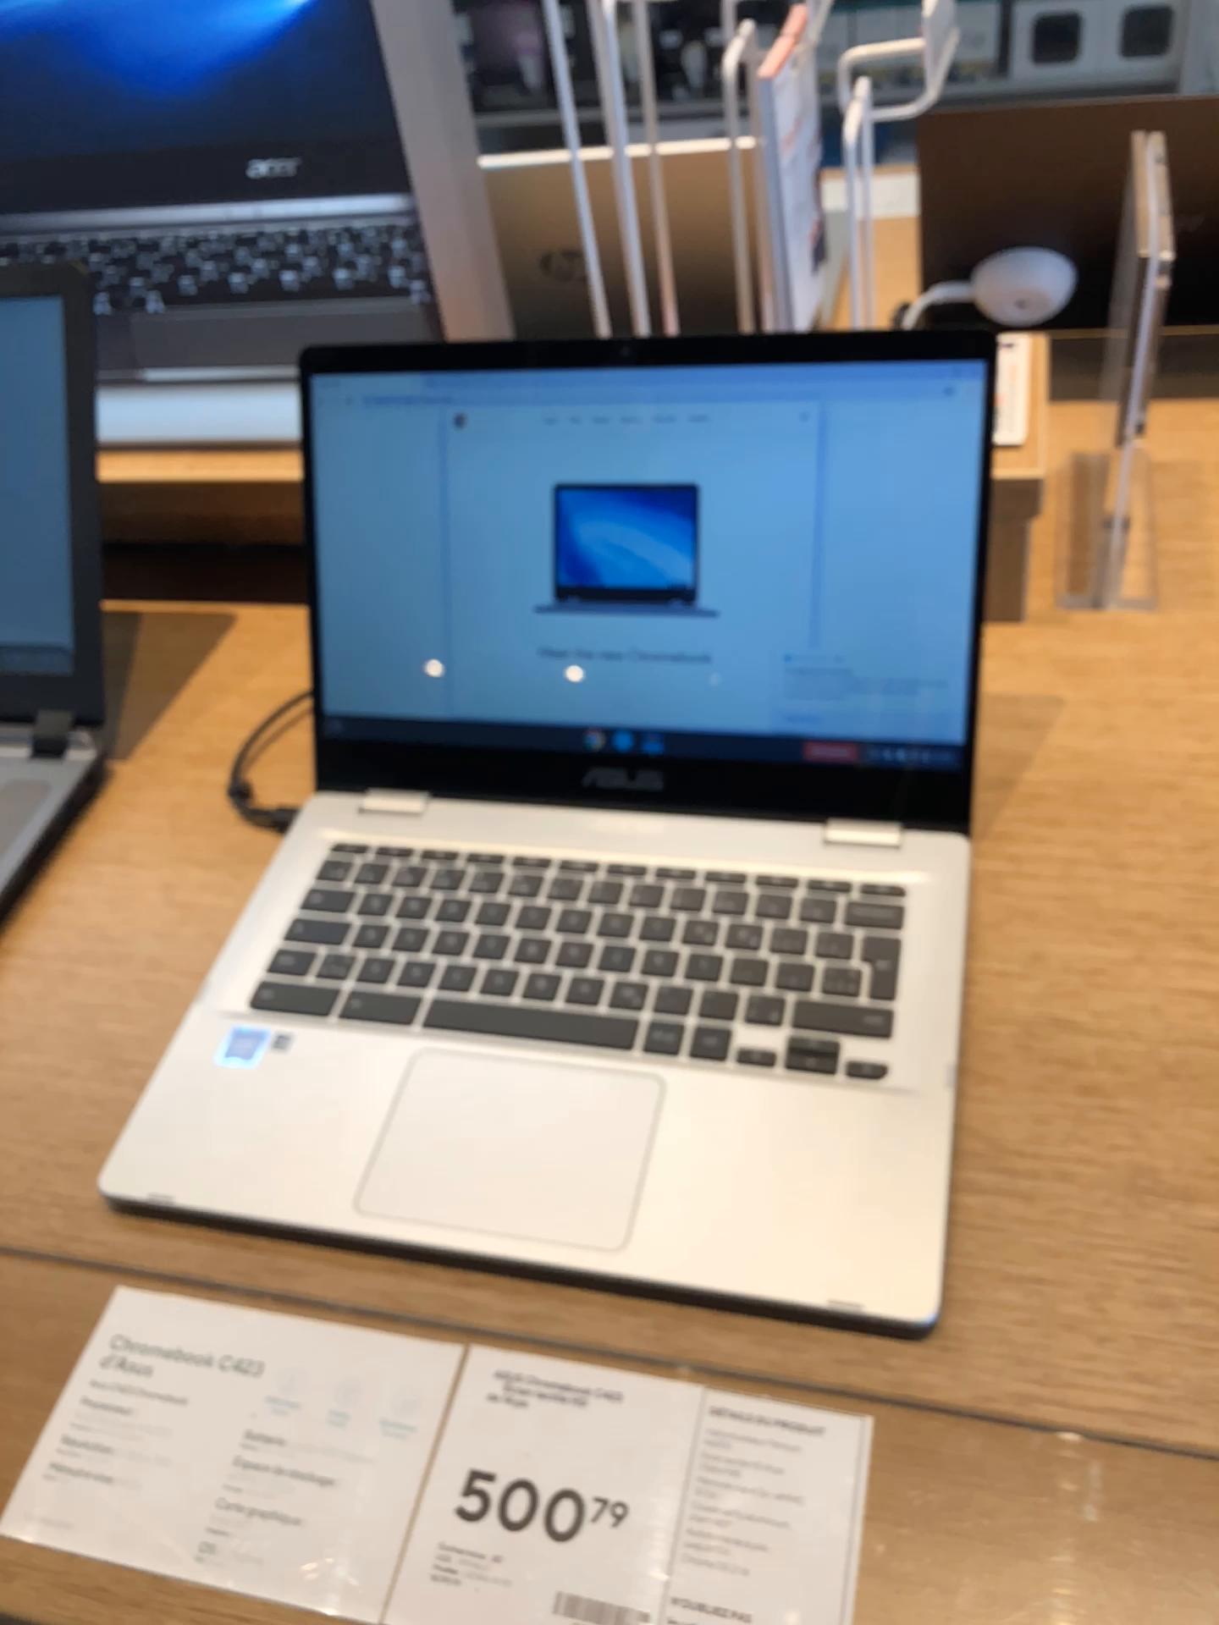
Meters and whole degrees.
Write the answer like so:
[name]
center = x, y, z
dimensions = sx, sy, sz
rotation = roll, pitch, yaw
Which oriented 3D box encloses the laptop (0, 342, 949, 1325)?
[laptop]
center = -0.017, -0.024, 0.531
dimensions = 0.281, 0.186, 0.337
rotation = 3, 43, 12
